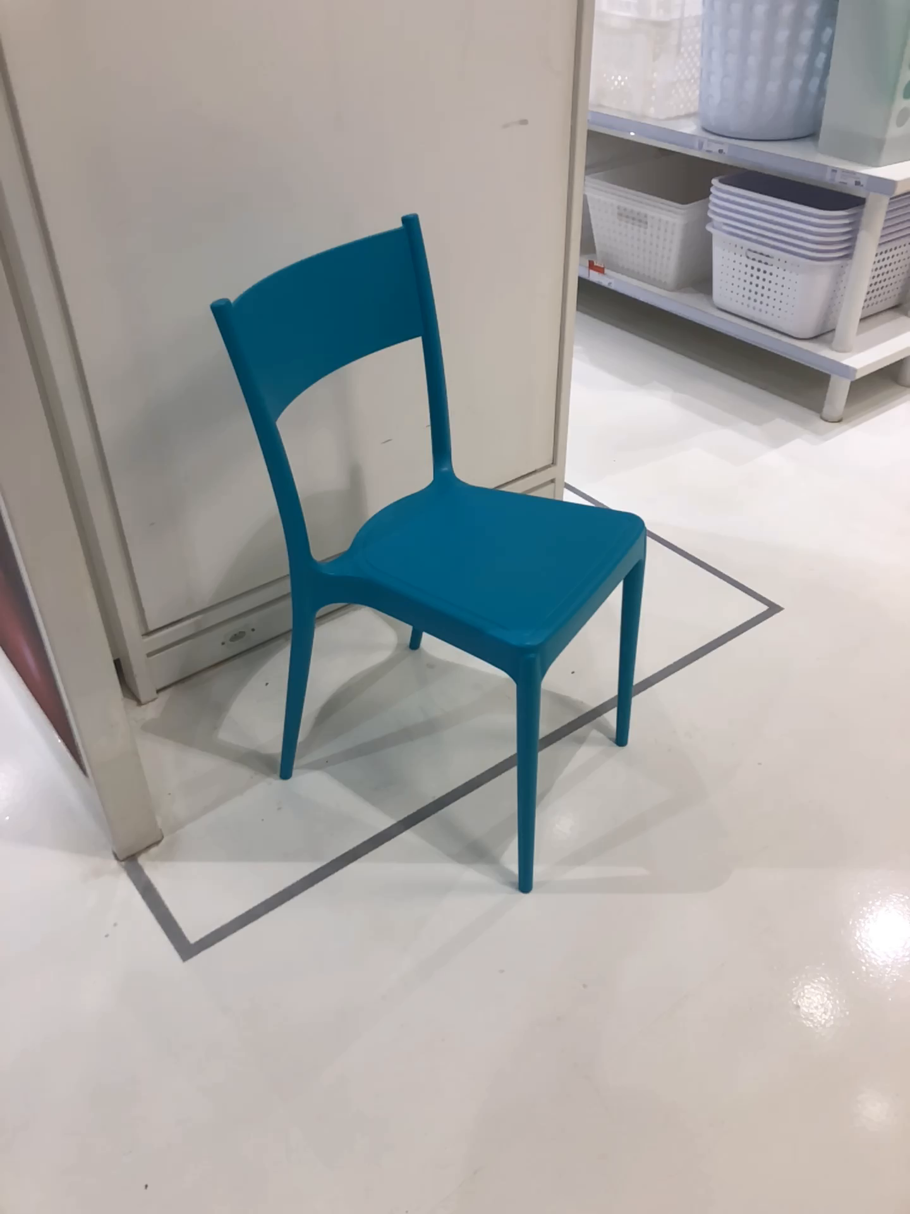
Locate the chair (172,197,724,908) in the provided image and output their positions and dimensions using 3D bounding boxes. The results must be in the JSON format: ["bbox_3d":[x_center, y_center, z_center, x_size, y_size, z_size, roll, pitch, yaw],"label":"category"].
[{"bbox_3d":[0.004,-0.086,1.426,0.511,0.794,0.433,20,41,25],"label":"chair"}]
